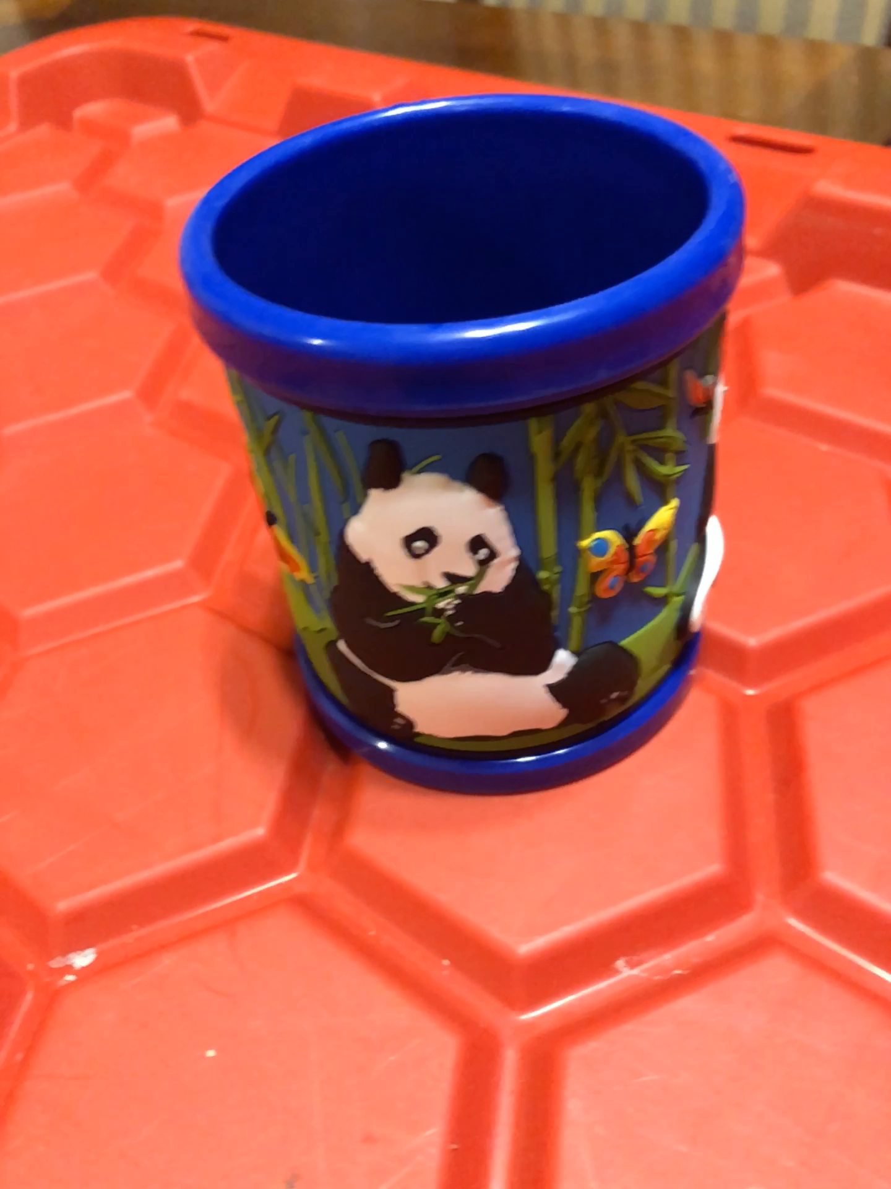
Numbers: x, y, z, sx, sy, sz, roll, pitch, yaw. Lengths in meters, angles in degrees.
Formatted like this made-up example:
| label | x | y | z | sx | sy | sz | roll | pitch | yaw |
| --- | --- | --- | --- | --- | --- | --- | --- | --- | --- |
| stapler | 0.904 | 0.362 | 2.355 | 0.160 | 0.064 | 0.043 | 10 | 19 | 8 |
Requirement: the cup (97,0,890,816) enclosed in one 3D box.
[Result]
| label | x | y | z | sx | sy | sz | roll | pitch | yaw |
| --- | --- | --- | --- | --- | --- | --- | --- | --- | --- |
| cup | 0.011 | -0.039 | 0.188 | 0.090 | 0.099 | 0.121 | -2 | 44 | 5 |
